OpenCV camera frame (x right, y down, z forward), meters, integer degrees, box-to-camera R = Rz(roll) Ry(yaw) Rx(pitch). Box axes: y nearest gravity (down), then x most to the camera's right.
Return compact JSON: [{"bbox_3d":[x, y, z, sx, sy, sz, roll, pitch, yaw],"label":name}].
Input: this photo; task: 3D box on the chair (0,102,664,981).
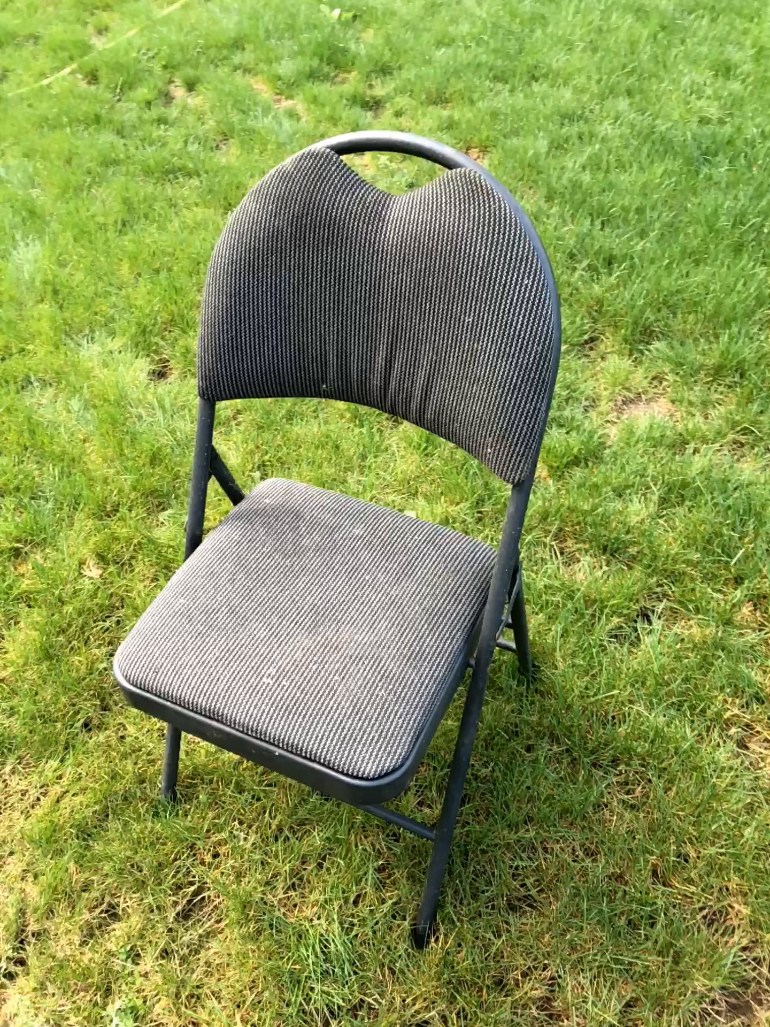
[{"bbox_3d":[-0.064,0.045,1.053,0.531,0.815,0.573,18,49,20],"label":"chair"}]
